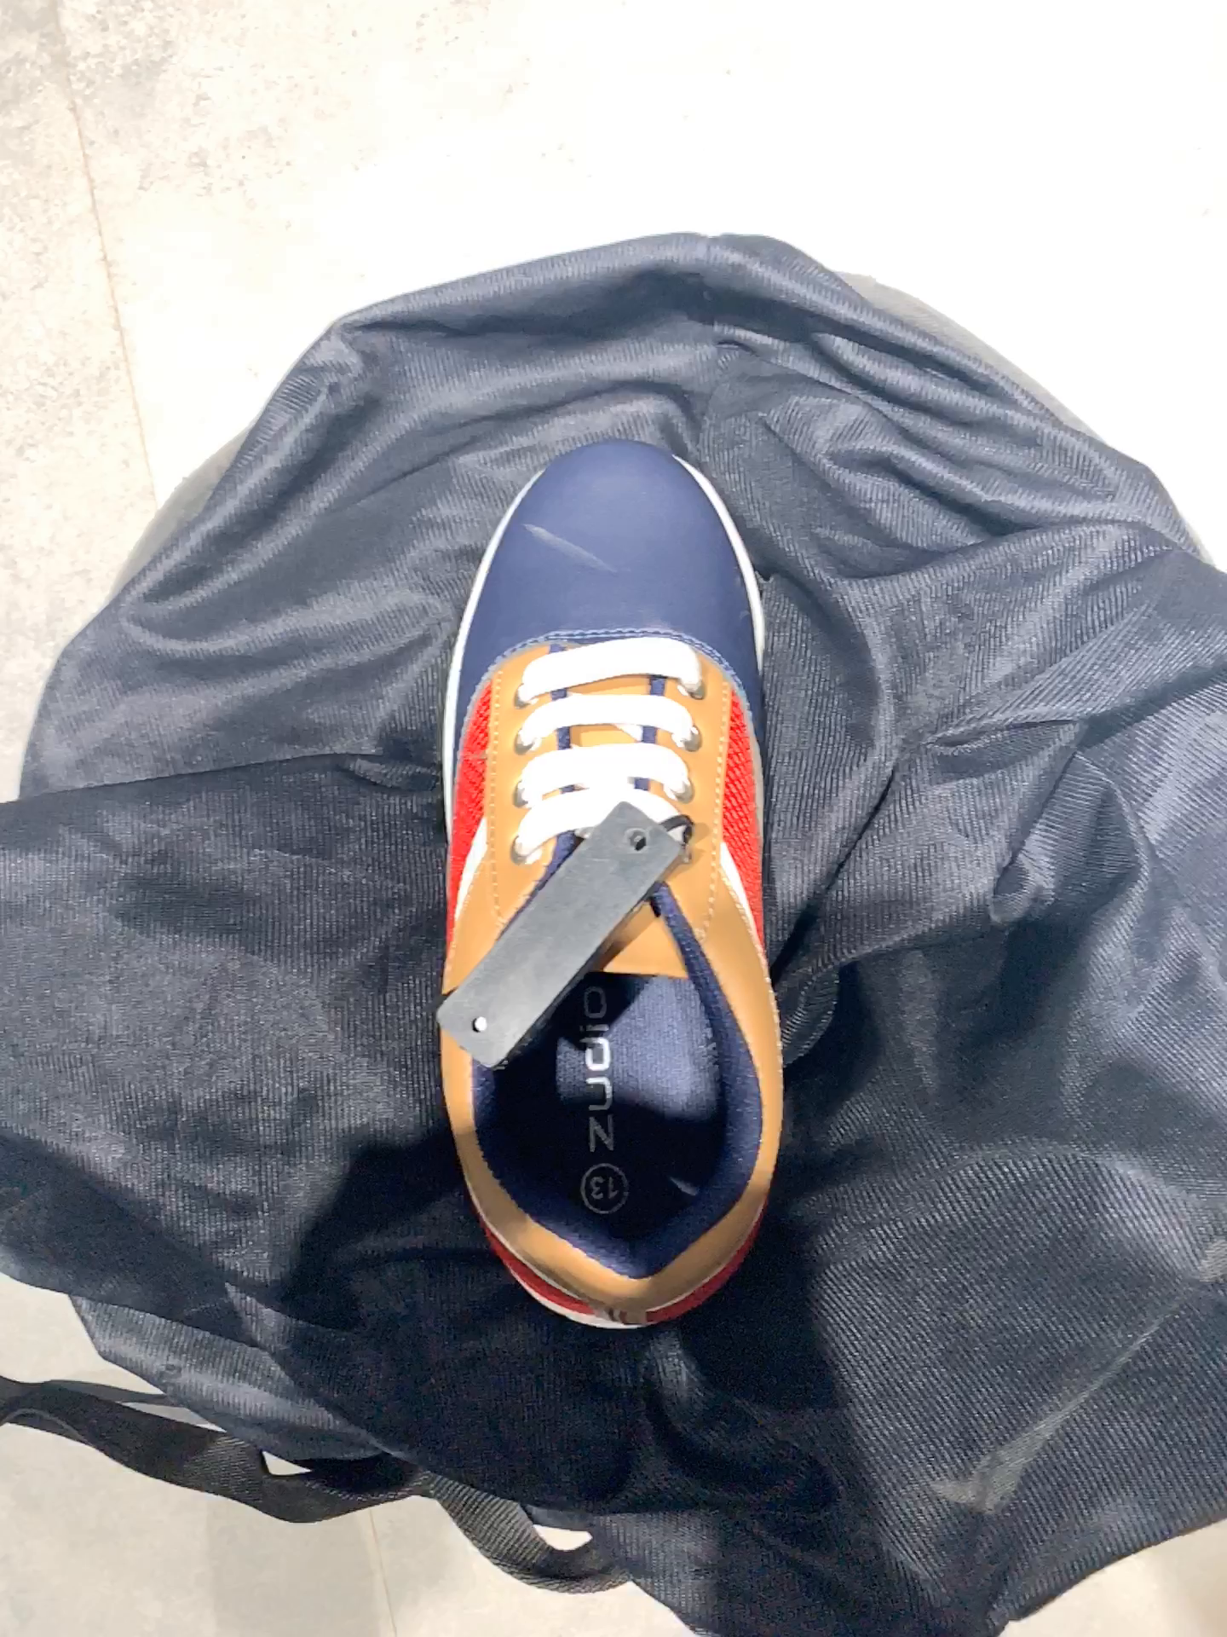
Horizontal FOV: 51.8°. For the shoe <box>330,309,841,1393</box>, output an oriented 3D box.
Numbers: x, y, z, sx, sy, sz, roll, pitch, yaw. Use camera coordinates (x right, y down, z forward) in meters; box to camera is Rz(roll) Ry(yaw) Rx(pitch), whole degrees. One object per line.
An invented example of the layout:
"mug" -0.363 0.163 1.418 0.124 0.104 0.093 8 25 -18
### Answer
"shoe" -0.005 0.007 0.259 0.080 0.070 0.190 -6 75 12
